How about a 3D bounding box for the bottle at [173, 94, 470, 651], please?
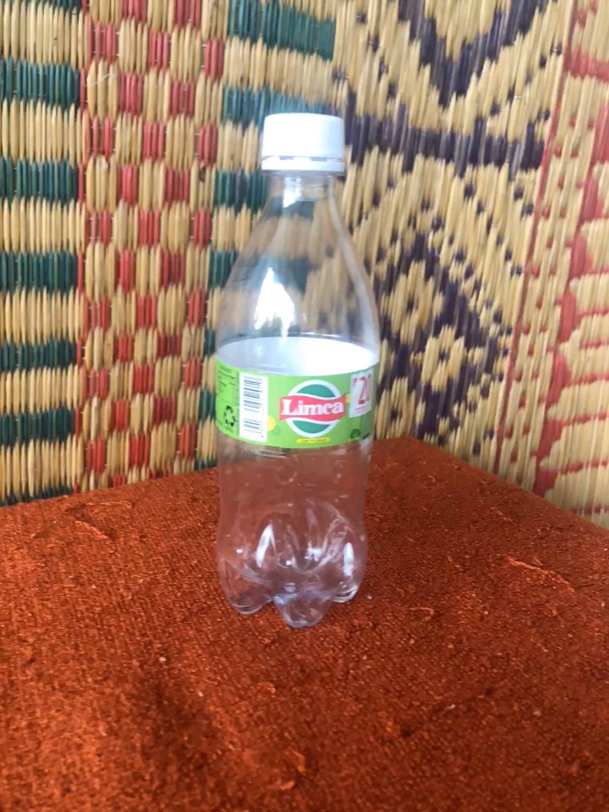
[{"bbox_3d":[-0.003,-0.011,0.213,0.060,0.149,0.060,5,18,-2],"label":"bottle"}]
